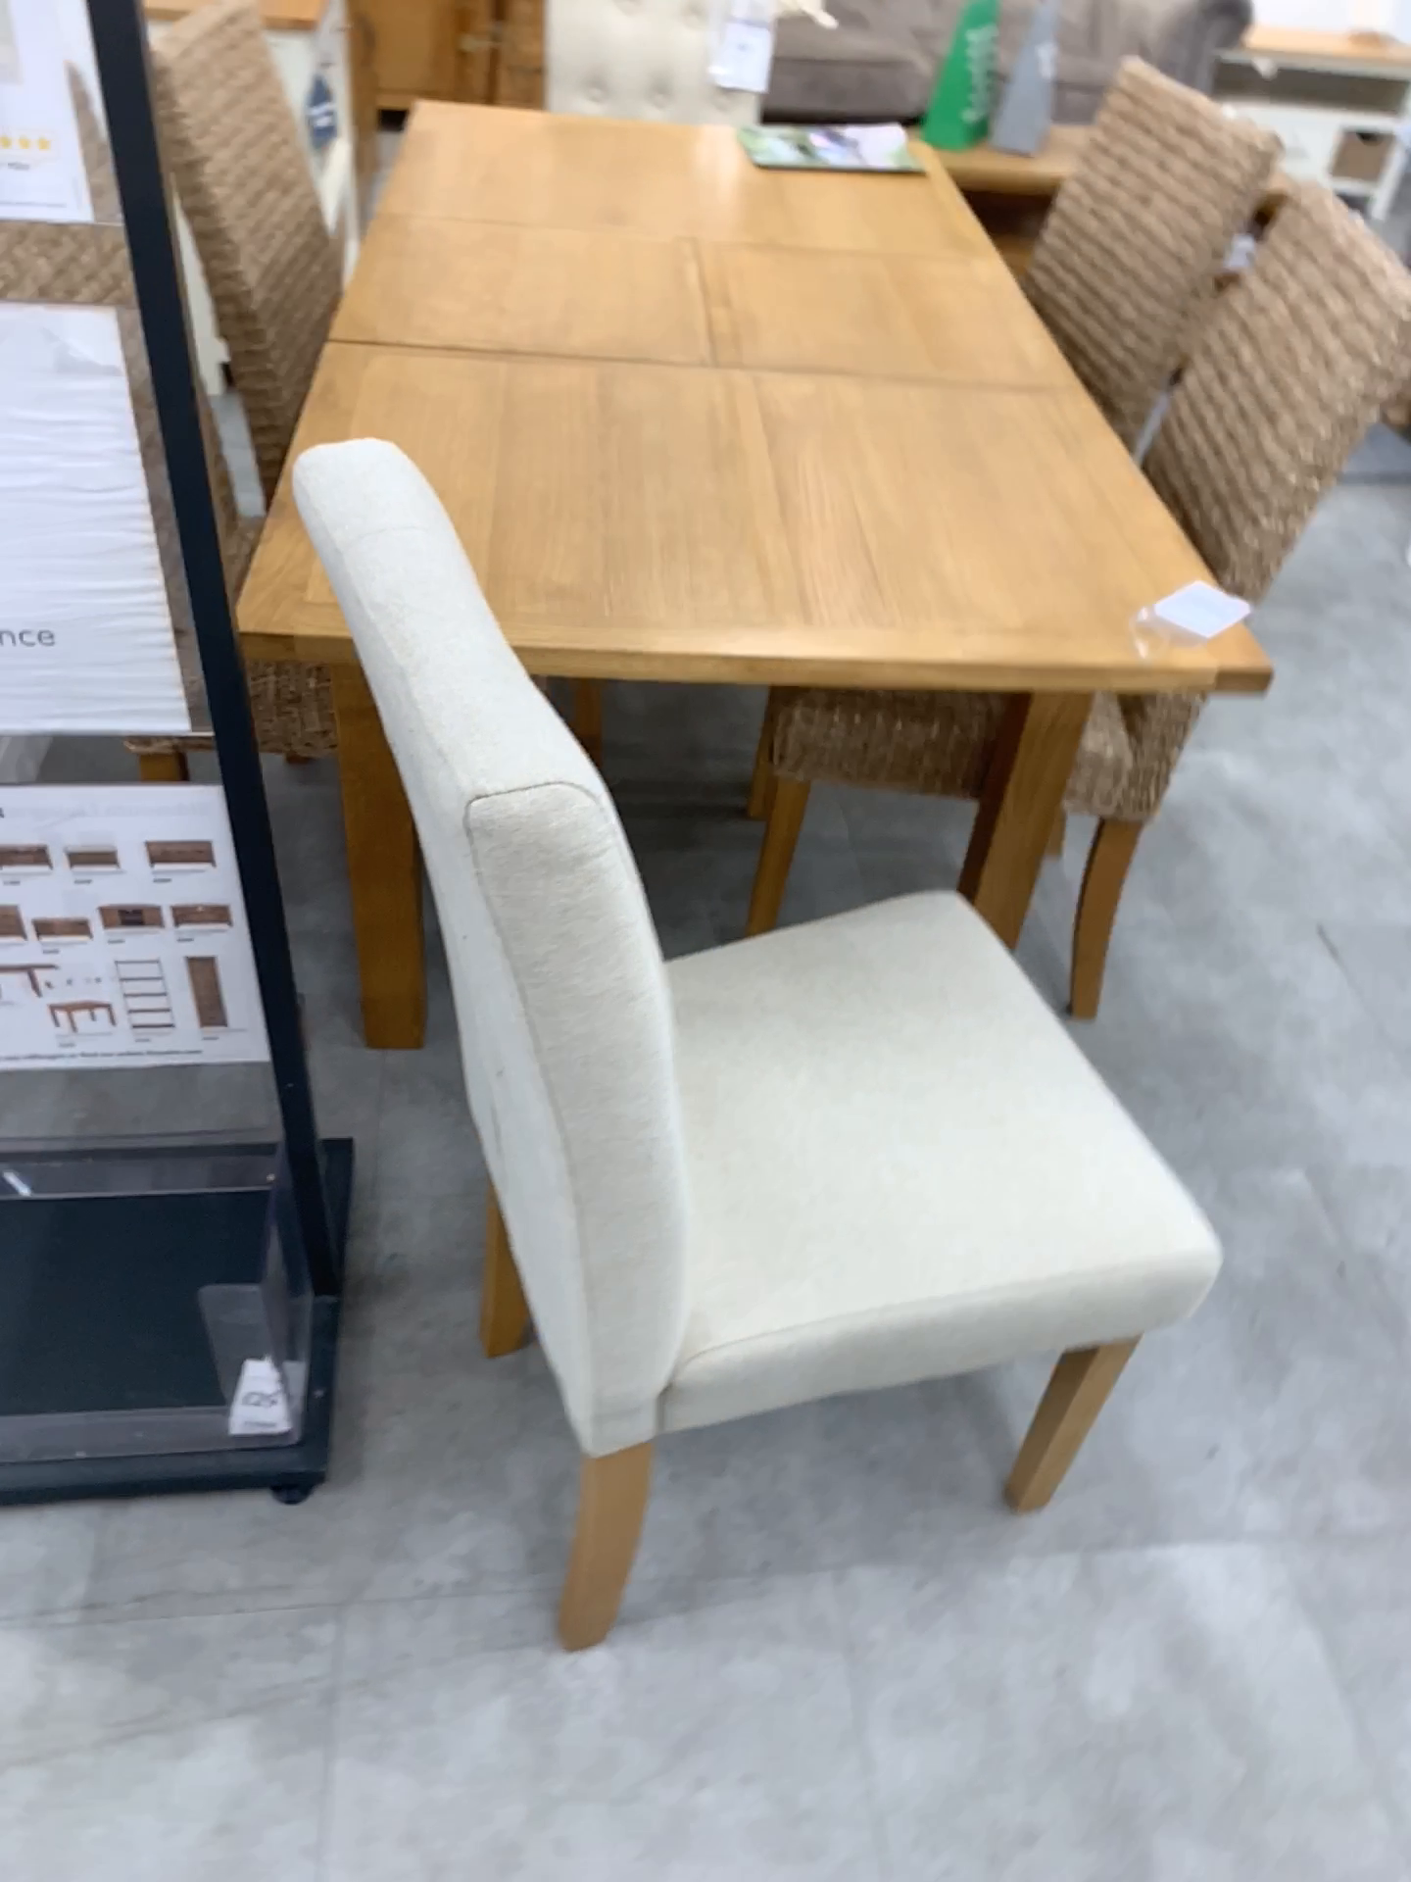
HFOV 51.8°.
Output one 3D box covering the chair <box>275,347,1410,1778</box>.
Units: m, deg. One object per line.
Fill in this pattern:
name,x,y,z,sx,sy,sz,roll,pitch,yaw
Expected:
chair,0.089,0.110,1.056,0.611,0.872,0.423,-13,45,-20
